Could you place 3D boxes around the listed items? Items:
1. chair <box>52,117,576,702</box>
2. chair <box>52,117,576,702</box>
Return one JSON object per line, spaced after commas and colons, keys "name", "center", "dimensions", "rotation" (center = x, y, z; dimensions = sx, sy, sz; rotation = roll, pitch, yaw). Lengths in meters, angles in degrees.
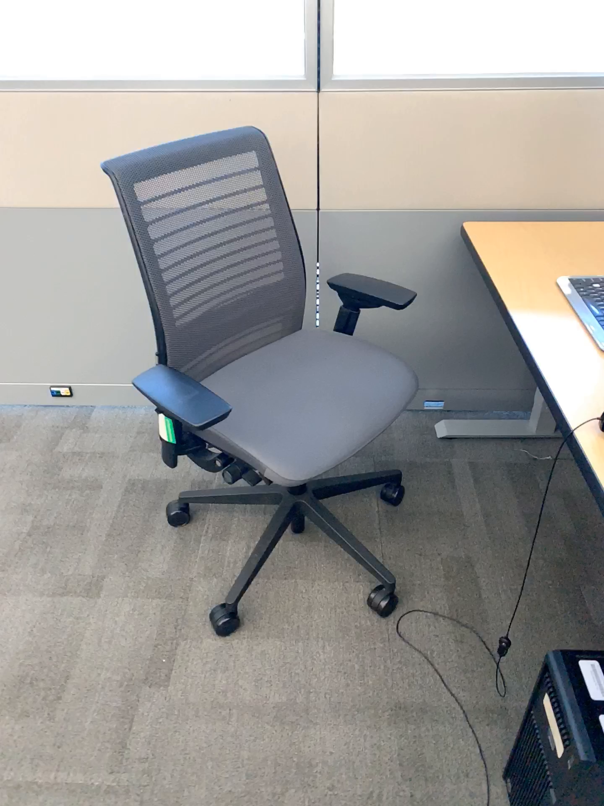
{"name": "chair", "center": [0.041, -0.051, 1.615], "dimensions": [0.803, 1.083, 0.772], "rotation": [26, 43, 33]}
{"name": "chair", "center": [0.041, -0.051, 1.615], "dimensions": [0.803, 1.083, 0.772], "rotation": [26, 43, 33]}
